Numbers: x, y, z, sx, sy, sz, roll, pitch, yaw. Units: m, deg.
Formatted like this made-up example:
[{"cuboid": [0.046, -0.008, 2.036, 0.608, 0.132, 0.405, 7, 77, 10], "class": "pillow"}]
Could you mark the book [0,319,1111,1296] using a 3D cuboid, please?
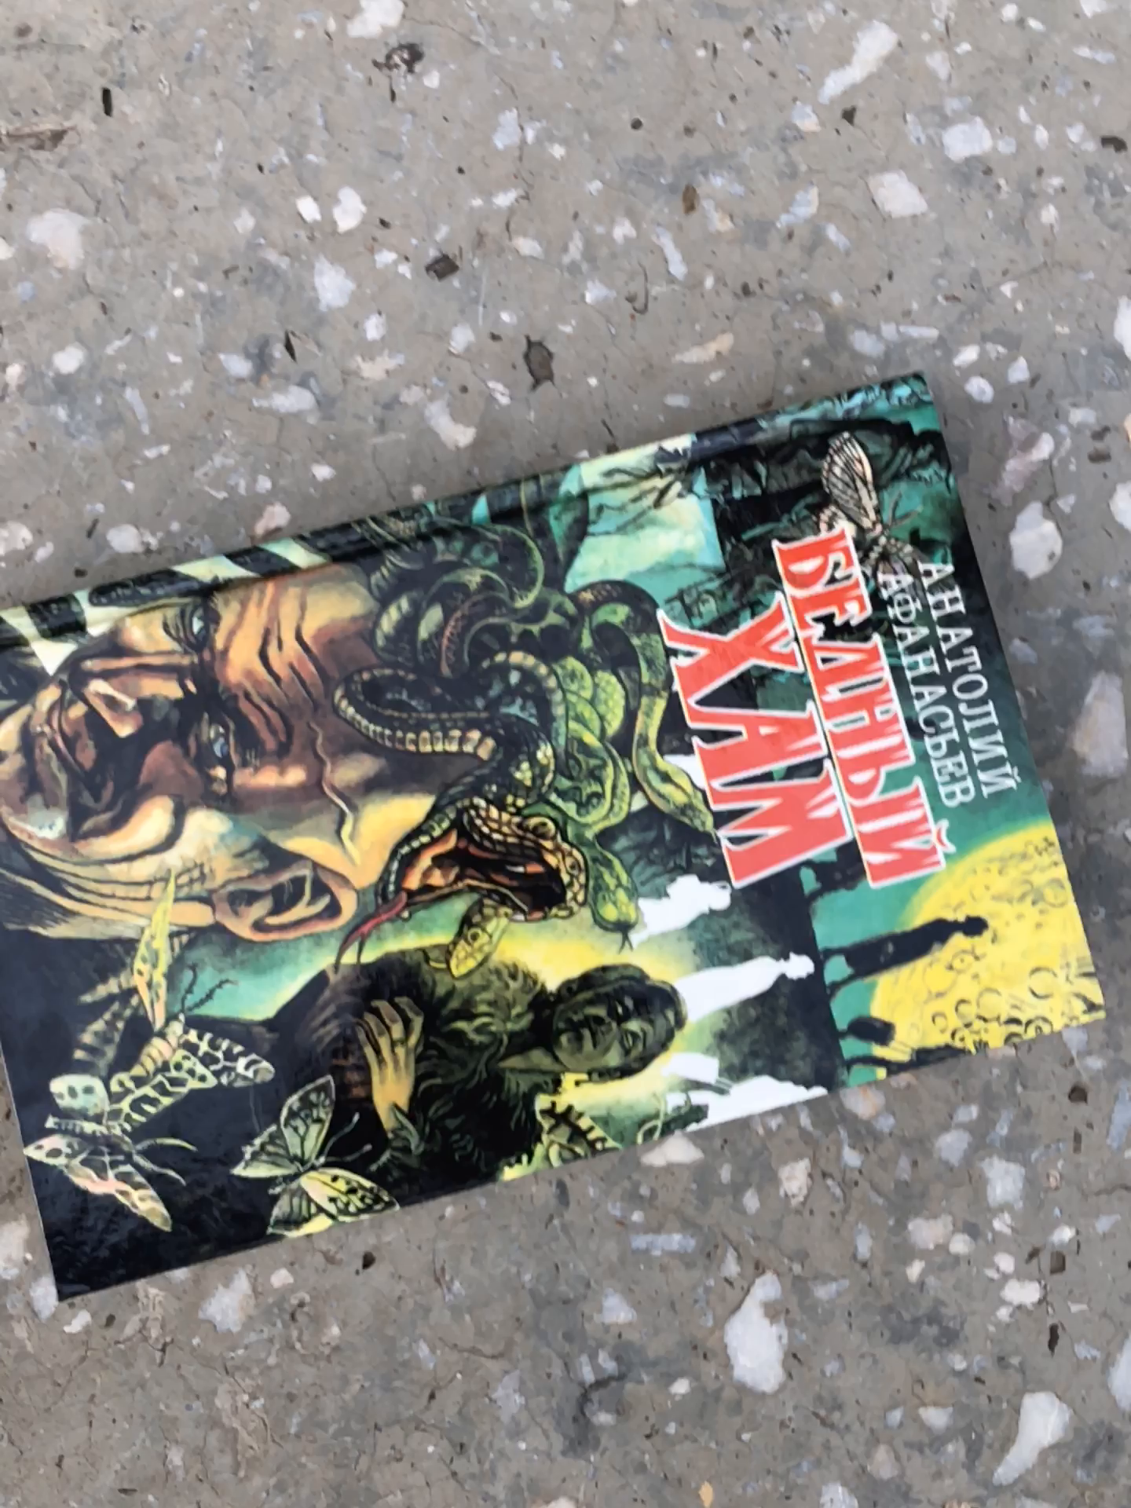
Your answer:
[{"cuboid": [-0.013, 0.009, 0.250, 0.201, 0.020, 0.142, -13, 86, 0], "class": "book"}]
